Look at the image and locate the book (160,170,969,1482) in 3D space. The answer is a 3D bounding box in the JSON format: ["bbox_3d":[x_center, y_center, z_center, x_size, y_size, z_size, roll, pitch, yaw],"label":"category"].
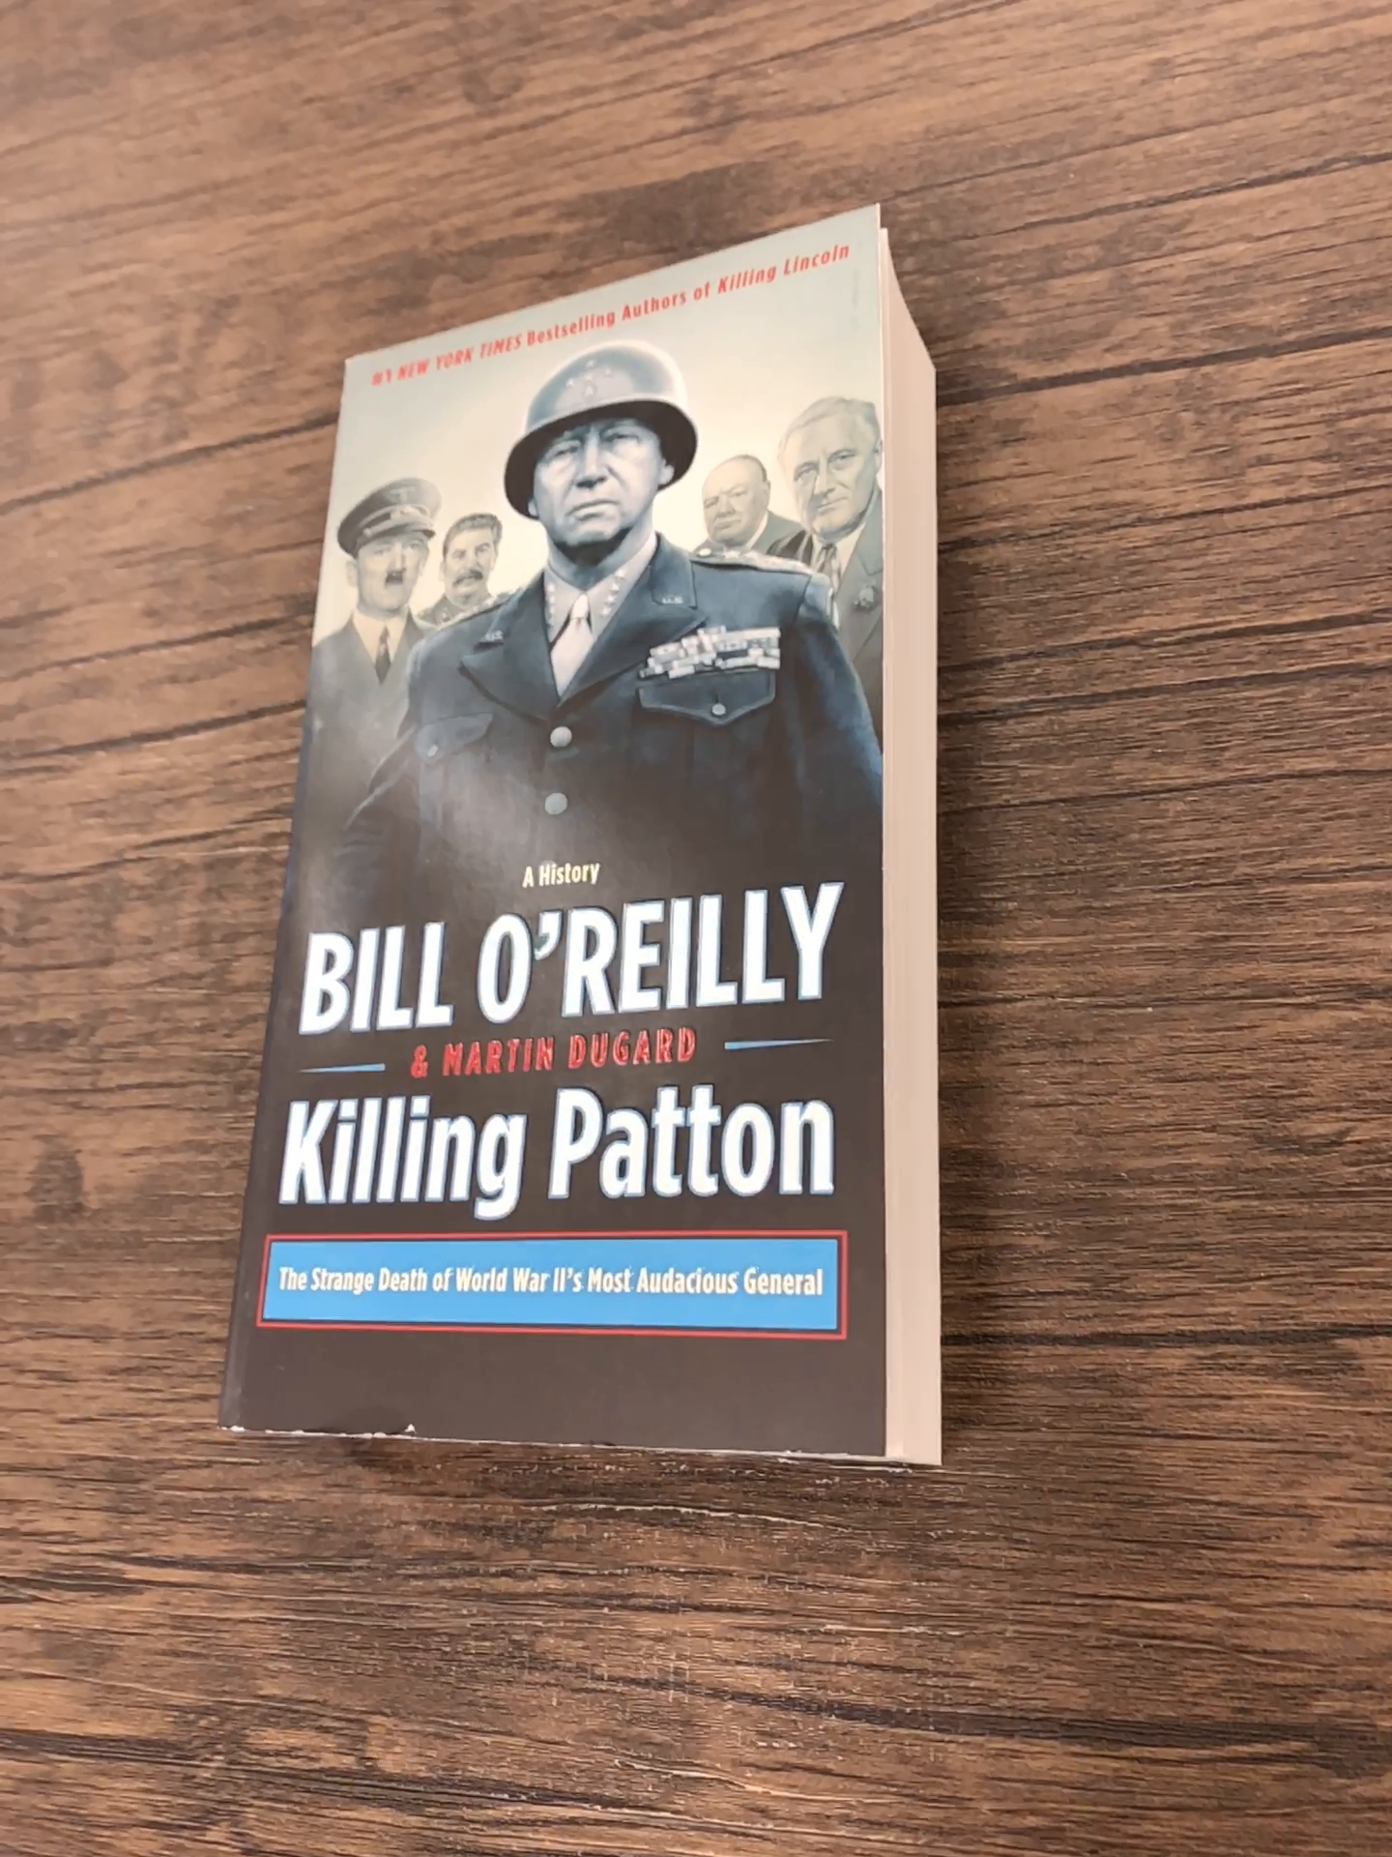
[{"bbox_3d":[-0.016,-0.014,0.241,0.106,0.040,0.182,-6,71,25],"label":"book"}]
